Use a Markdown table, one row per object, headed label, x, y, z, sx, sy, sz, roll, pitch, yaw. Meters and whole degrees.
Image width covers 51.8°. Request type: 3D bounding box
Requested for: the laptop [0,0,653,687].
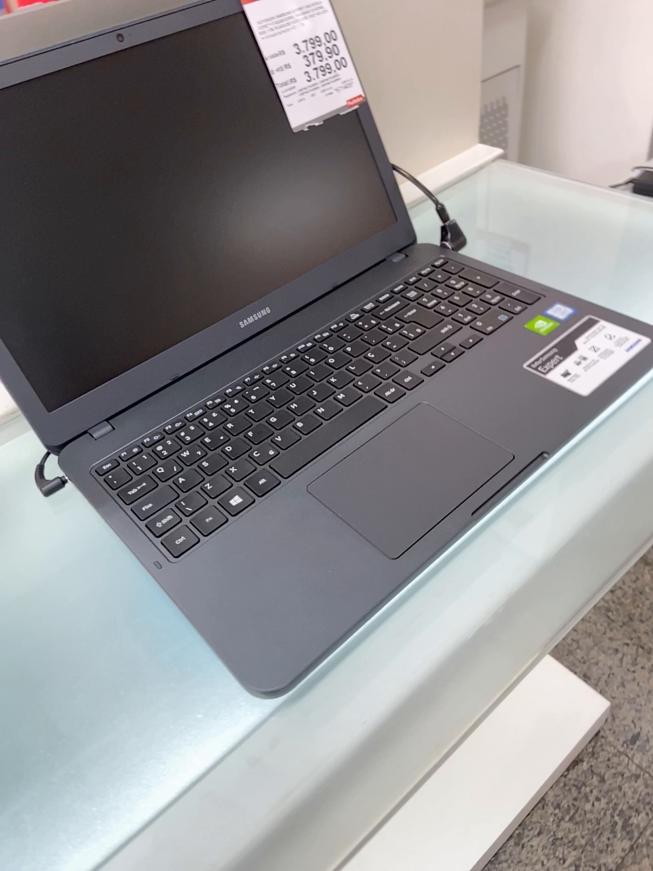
| label | x | y | z | sx | sy | sz | roll | pitch | yaw |
| --- | --- | --- | --- | --- | --- | --- | --- | --- | --- |
| laptop | -0.015 | -0.127 | 0.428 | 0.364 | 0.208 | 0.343 | -35 | 48 | -24 |
